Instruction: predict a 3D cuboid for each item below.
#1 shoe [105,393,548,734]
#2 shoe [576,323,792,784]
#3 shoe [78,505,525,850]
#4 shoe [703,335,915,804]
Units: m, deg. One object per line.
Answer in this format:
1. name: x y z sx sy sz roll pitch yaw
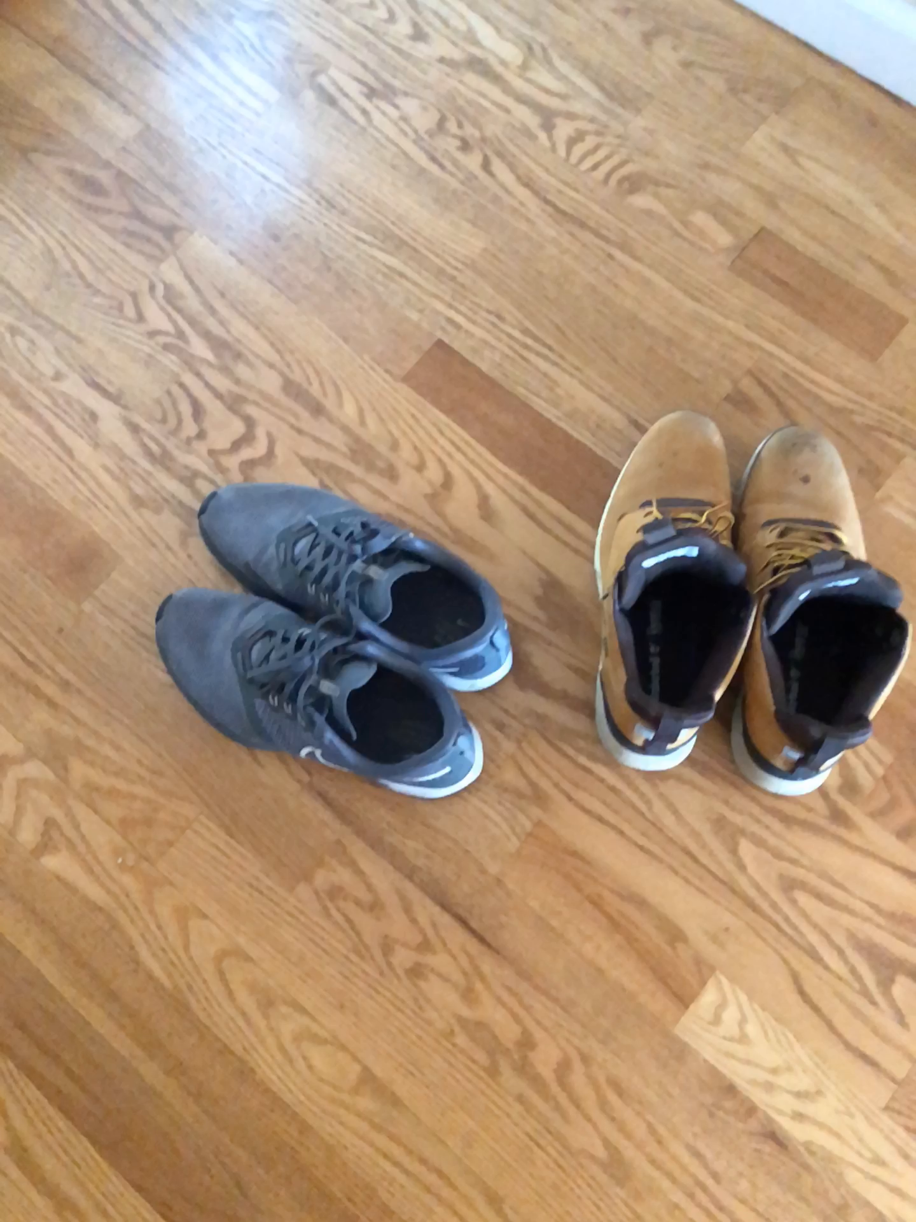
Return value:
1. shoe: -0.106 -0.039 0.851 0.330 0.100 0.140 25 76 9
2. shoe: 0.173 -0.040 0.779 0.130 0.140 0.320 5 74 3
3. shoe: -0.121 0.055 0.823 0.320 0.100 0.140 25 76 9
4. shoe: 0.272 -0.027 0.766 0.130 0.140 0.320 5 74 3
